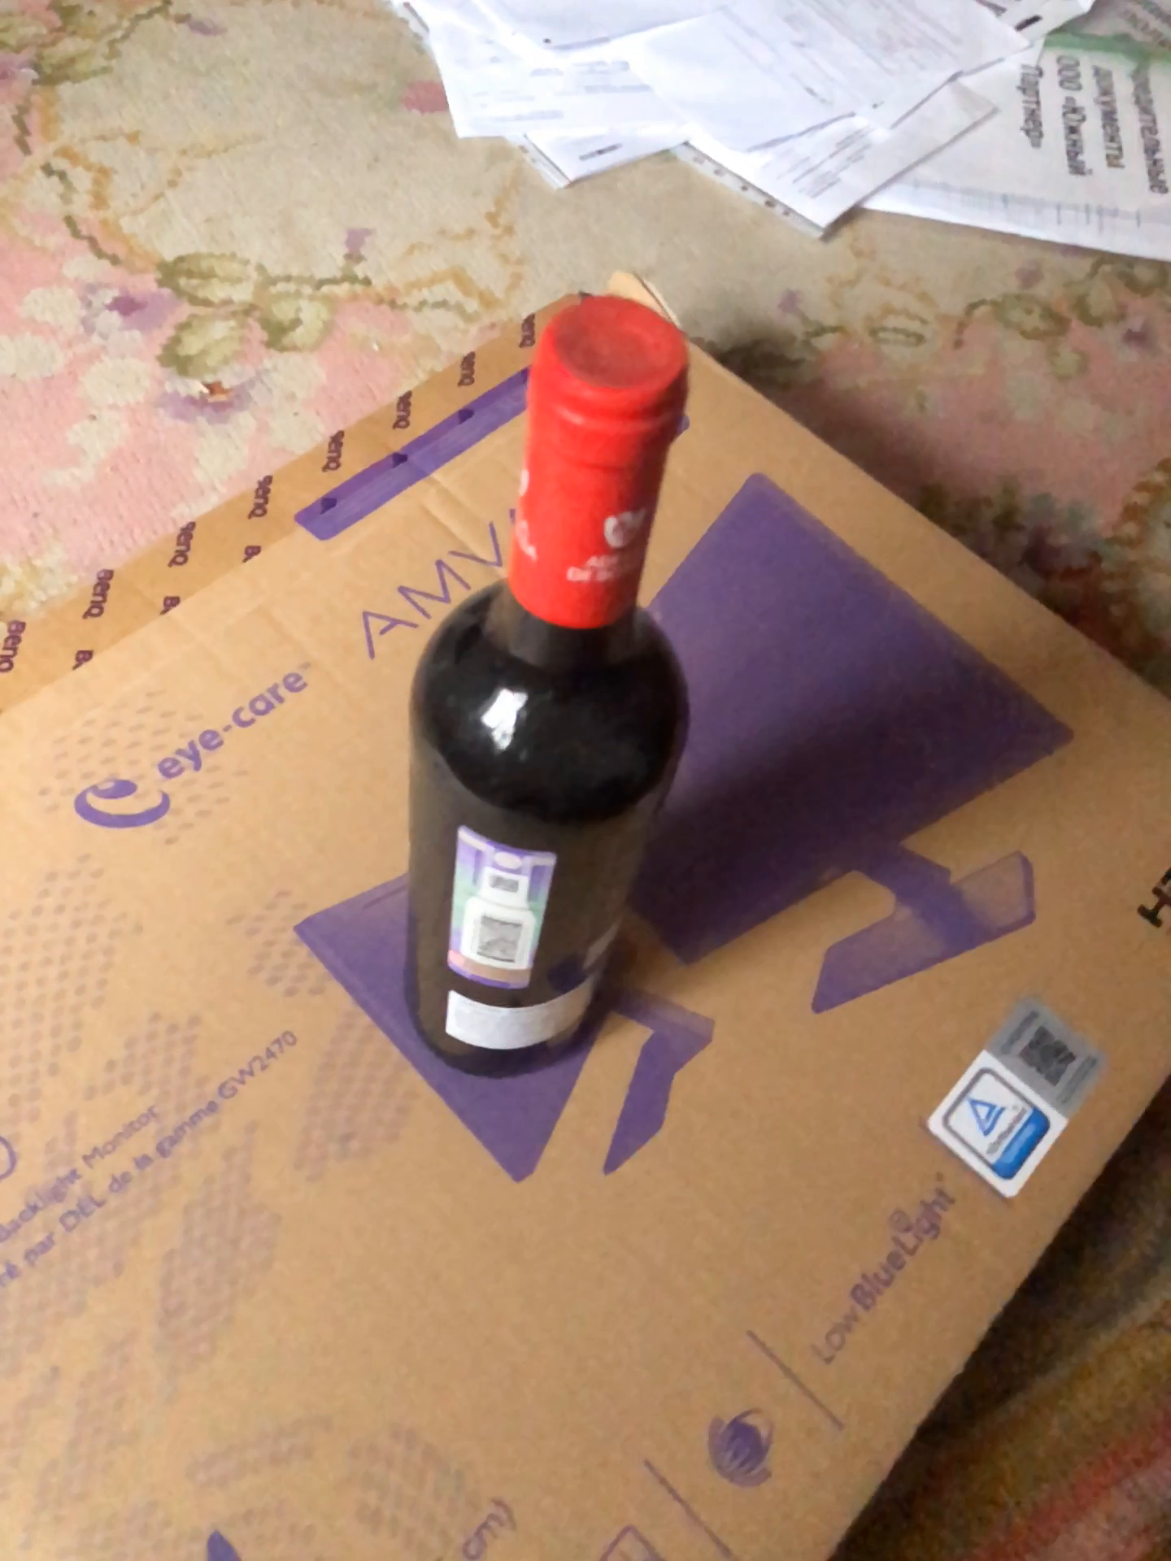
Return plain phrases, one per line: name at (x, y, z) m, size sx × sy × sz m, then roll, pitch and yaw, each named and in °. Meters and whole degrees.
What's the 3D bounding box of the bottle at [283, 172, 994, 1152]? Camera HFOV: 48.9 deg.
bottle at (-0.007, 0.005, 0.358) m, size 0.090 × 0.299 × 0.090 m, roll 3°, pitch 61°, yaw -6°
